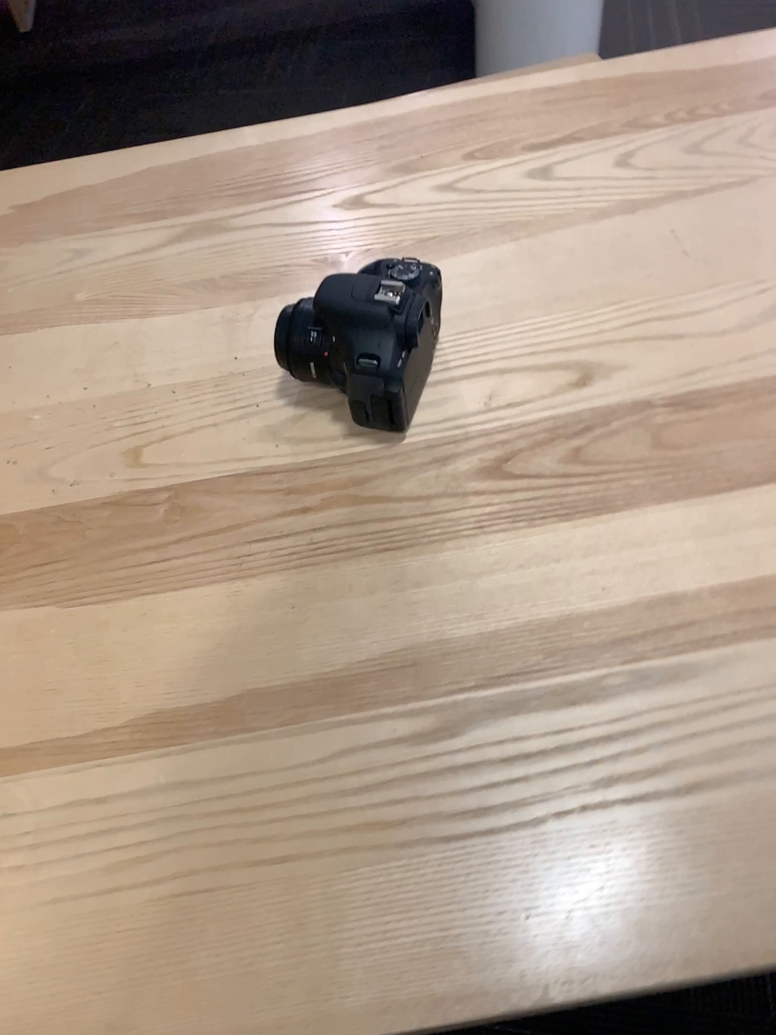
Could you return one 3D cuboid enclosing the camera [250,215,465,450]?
[{"bbox_3d":[-0.015,-0.148,0.621,0.120,0.100,0.145,10,53,14],"label":"camera"}]
